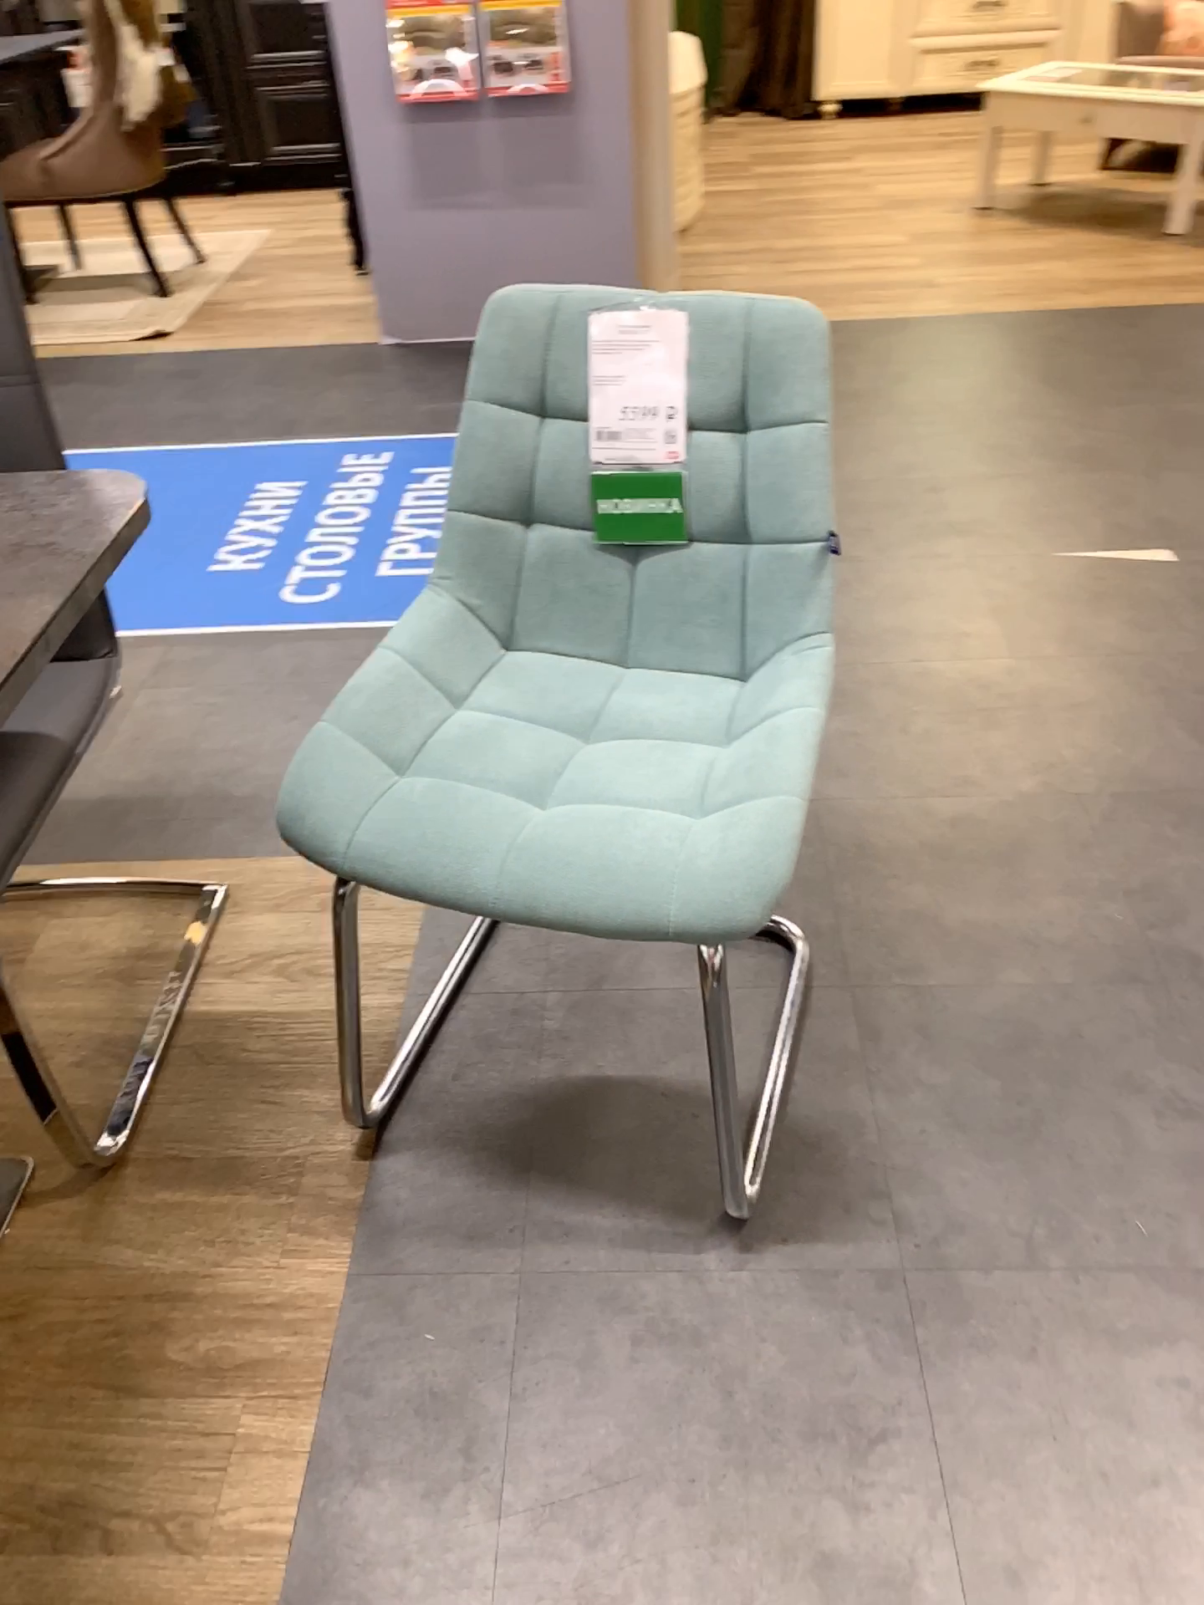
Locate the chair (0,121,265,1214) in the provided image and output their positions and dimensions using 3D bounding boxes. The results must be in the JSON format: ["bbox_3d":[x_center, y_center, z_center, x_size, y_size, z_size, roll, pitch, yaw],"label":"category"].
[{"bbox_3d":[-0.813,-0.111,1.336,0.510,1.004,0.573,0,38,6],"label":"chair"}]

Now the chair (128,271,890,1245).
[{"bbox_3d":[-0.013,-0.057,1.324,0.510,0.825,0.553,8,39,15],"label":"chair"}]
